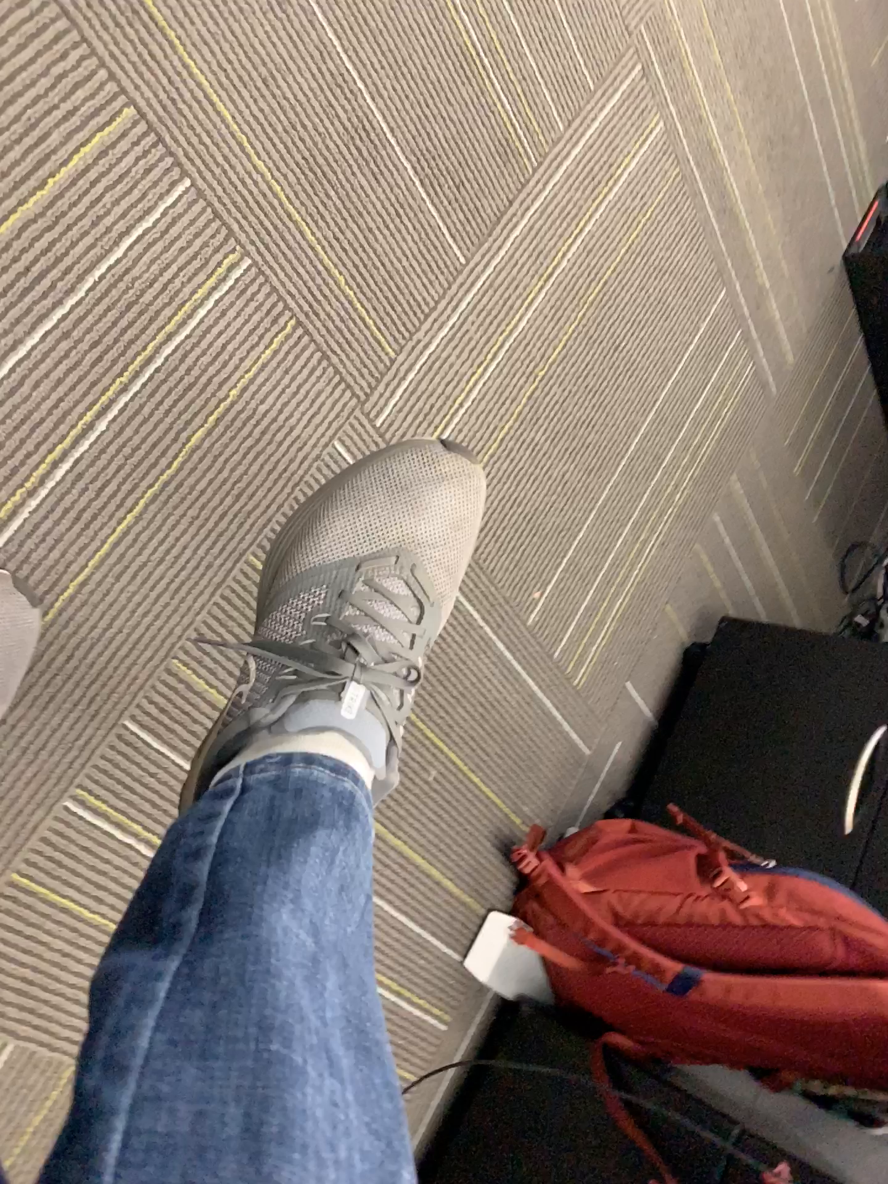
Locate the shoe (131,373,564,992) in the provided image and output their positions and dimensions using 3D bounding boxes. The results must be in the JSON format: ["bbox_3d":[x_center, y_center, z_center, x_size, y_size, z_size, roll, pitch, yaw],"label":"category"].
[{"bbox_3d":[-0.056,0.048,0.529,0.127,0.115,0.297,25,74,-14],"label":"shoe"}]

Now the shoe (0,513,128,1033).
[{"bbox_3d":[-0.413,0.097,0.630,0.310,0.179,0.124,-49,129,-28],"label":"shoe"}]
